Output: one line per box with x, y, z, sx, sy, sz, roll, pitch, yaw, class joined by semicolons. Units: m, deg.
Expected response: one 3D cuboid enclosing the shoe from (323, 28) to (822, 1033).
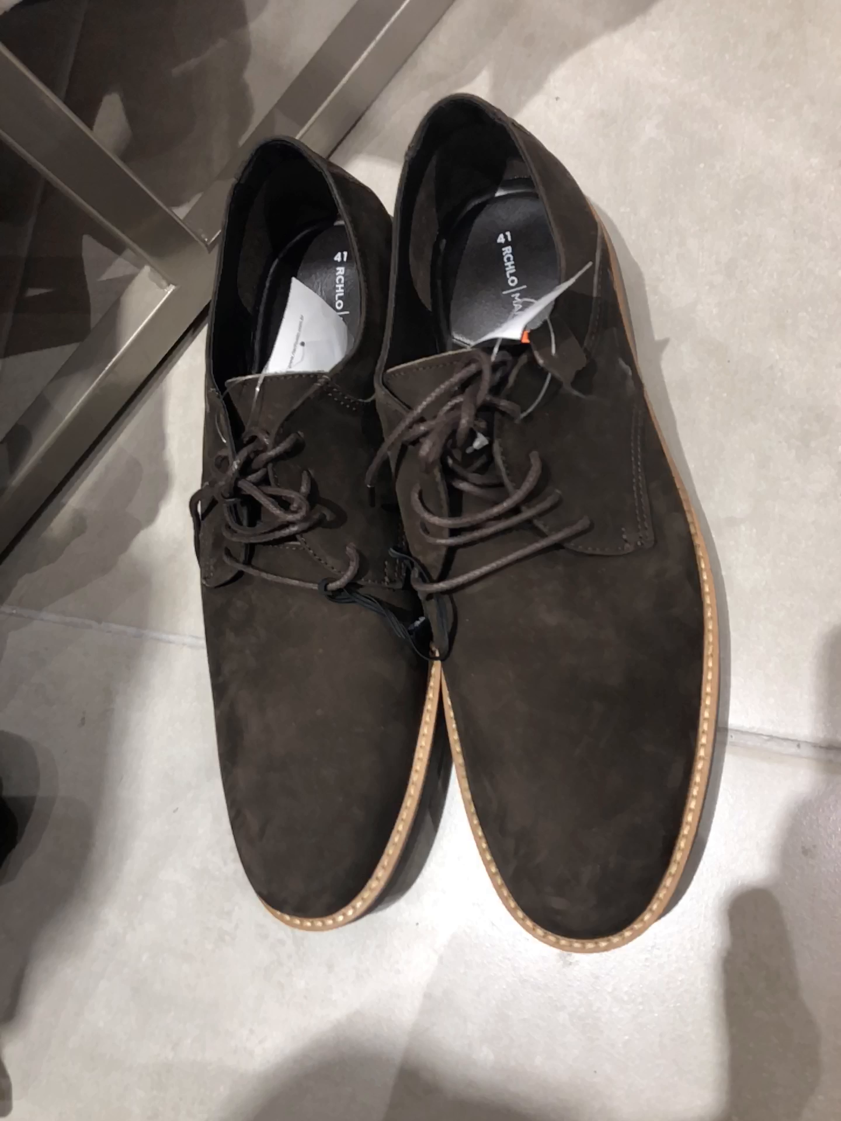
0.052;-0.008;0.339;0.110;0.120;0.300;-11;75;17;shoe

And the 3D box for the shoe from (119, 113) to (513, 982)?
-0.030;-0.004;0.386;0.110;0.120;0.300;-3;78;19;shoe
